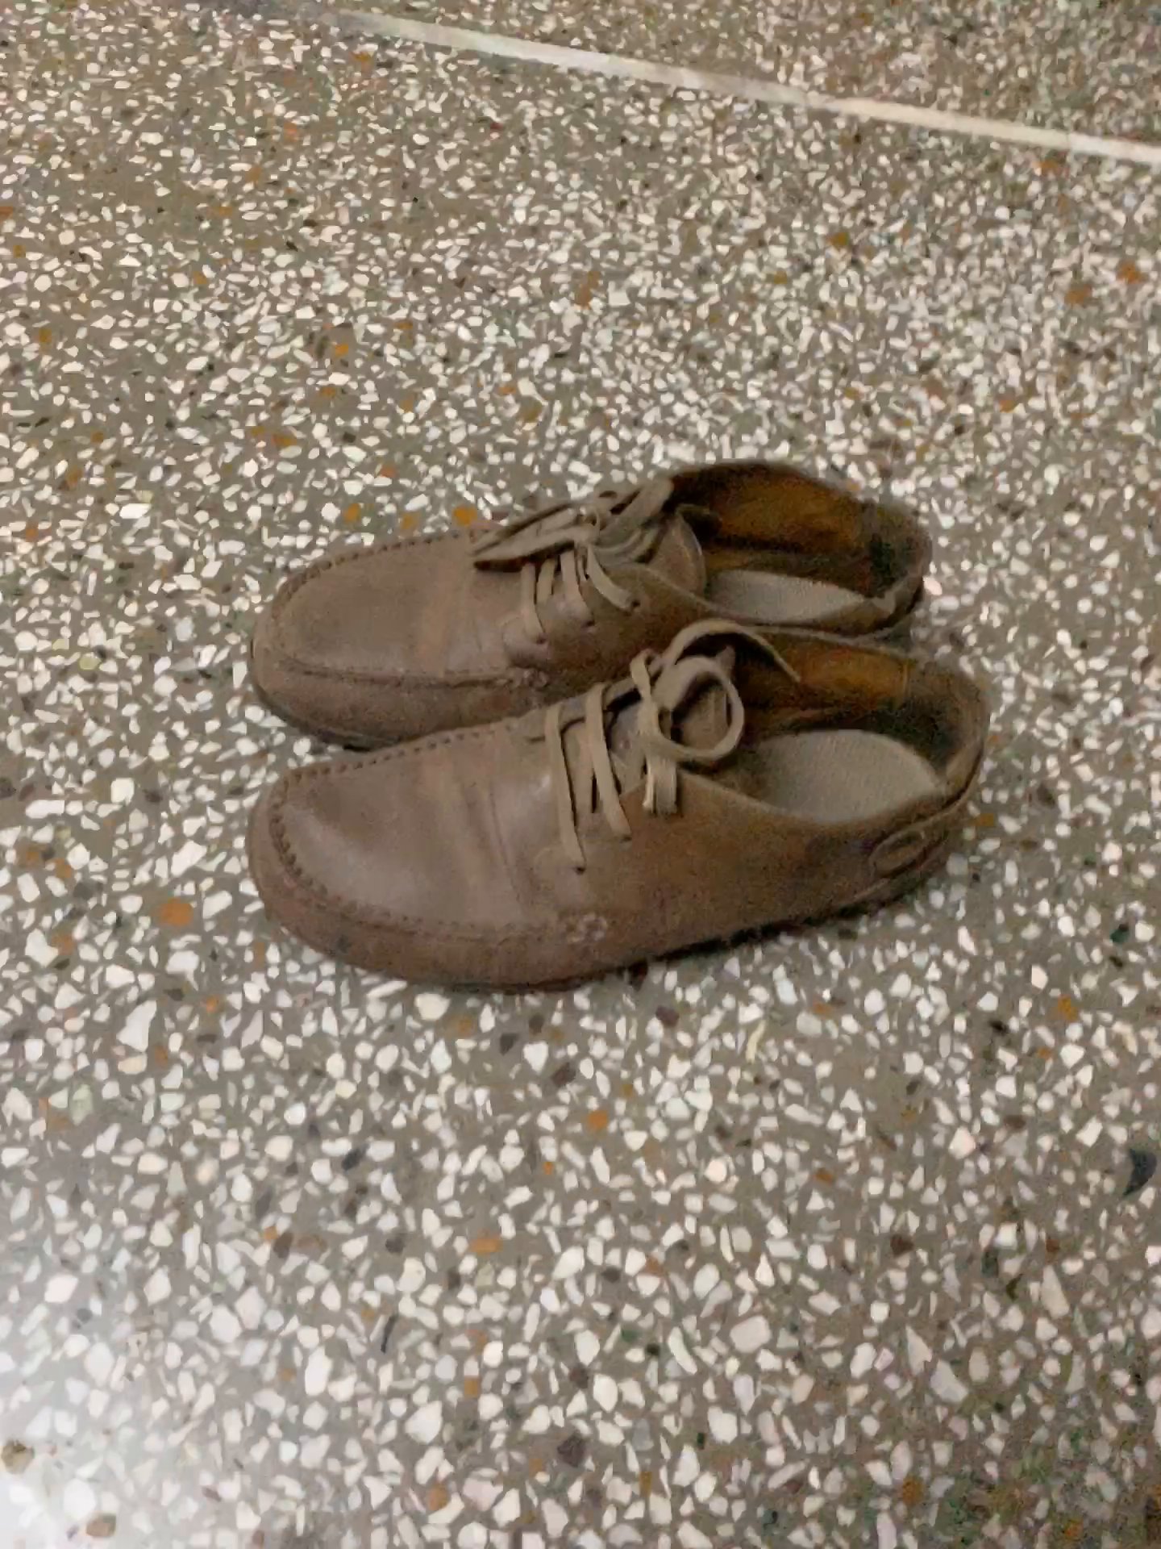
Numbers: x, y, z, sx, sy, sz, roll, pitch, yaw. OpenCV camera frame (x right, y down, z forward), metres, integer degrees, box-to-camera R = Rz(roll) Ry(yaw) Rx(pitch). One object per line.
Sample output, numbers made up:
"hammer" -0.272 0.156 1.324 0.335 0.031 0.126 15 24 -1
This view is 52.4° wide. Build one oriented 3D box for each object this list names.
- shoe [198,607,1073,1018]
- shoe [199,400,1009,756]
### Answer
"shoe" 0.014 0.015 0.451 0.290 0.100 0.100 -4 62 -8
"shoe" 0.006 -0.078 0.487 0.290 0.100 0.100 -1 61 -6
